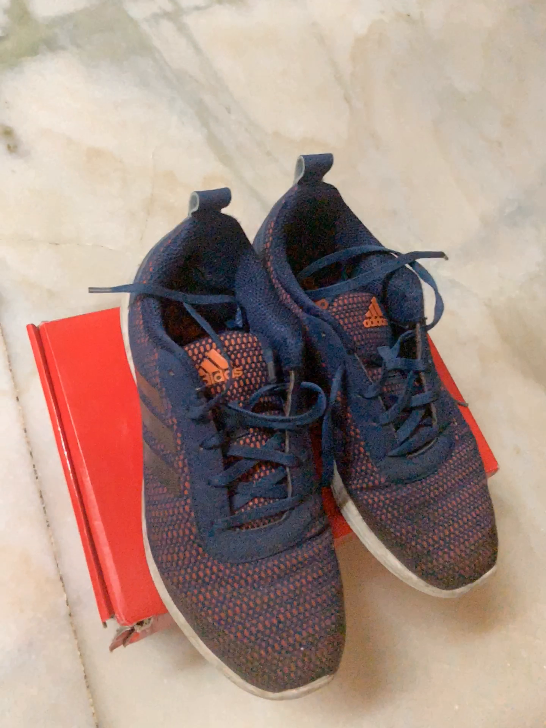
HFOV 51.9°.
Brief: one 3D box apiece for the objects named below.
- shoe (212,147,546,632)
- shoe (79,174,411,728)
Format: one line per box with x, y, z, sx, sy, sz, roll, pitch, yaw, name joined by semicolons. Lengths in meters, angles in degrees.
0.067;0.005;0.358;0.100;0.080;0.281;-19;73;-23;shoe
-0.037;0.039;0.346;0.100;0.100;0.301;-11;70;-21;shoe
